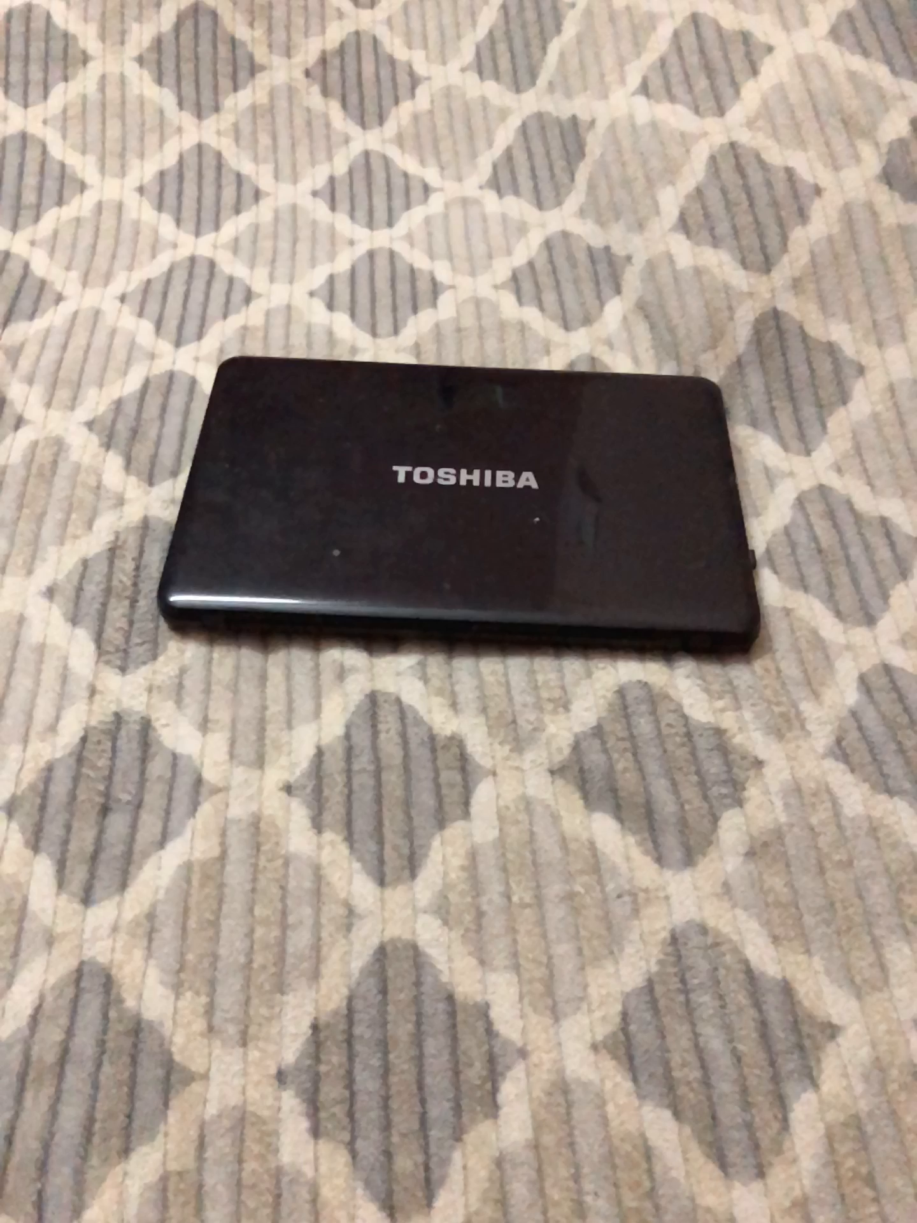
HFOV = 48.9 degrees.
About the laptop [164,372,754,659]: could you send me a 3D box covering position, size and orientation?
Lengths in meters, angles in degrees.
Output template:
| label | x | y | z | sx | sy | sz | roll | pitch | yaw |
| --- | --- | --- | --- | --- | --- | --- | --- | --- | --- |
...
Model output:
| label | x | y | z | sx | sy | sz | roll | pitch | yaw |
| --- | --- | --- | --- | --- | --- | --- | --- | --- | --- |
| laptop | 0.002 | -0.080 | 0.729 | 0.375 | 0.023 | 0.249 | 2 | 50 | 0 |
